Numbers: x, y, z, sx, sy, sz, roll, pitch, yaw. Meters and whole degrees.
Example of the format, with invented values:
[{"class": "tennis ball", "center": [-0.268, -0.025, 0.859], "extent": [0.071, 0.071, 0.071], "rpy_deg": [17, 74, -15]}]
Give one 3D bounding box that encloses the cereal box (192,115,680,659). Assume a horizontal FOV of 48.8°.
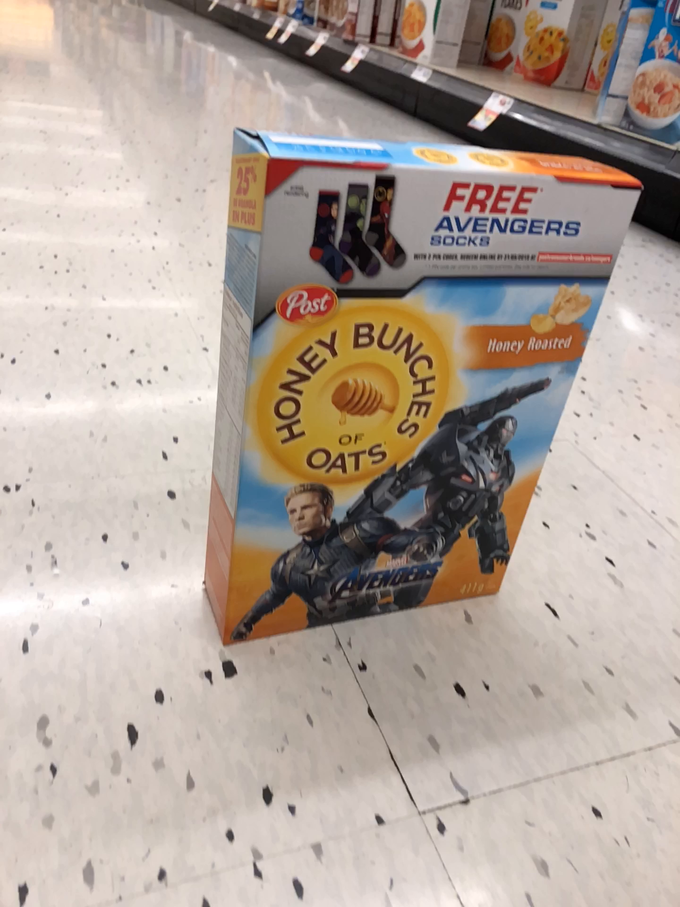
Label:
[{"class": "cereal box", "center": [0.039, -0.025, 0.398], "extent": [0.210, 0.258, 0.060], "rpy_deg": [-5, 34, -24]}]
